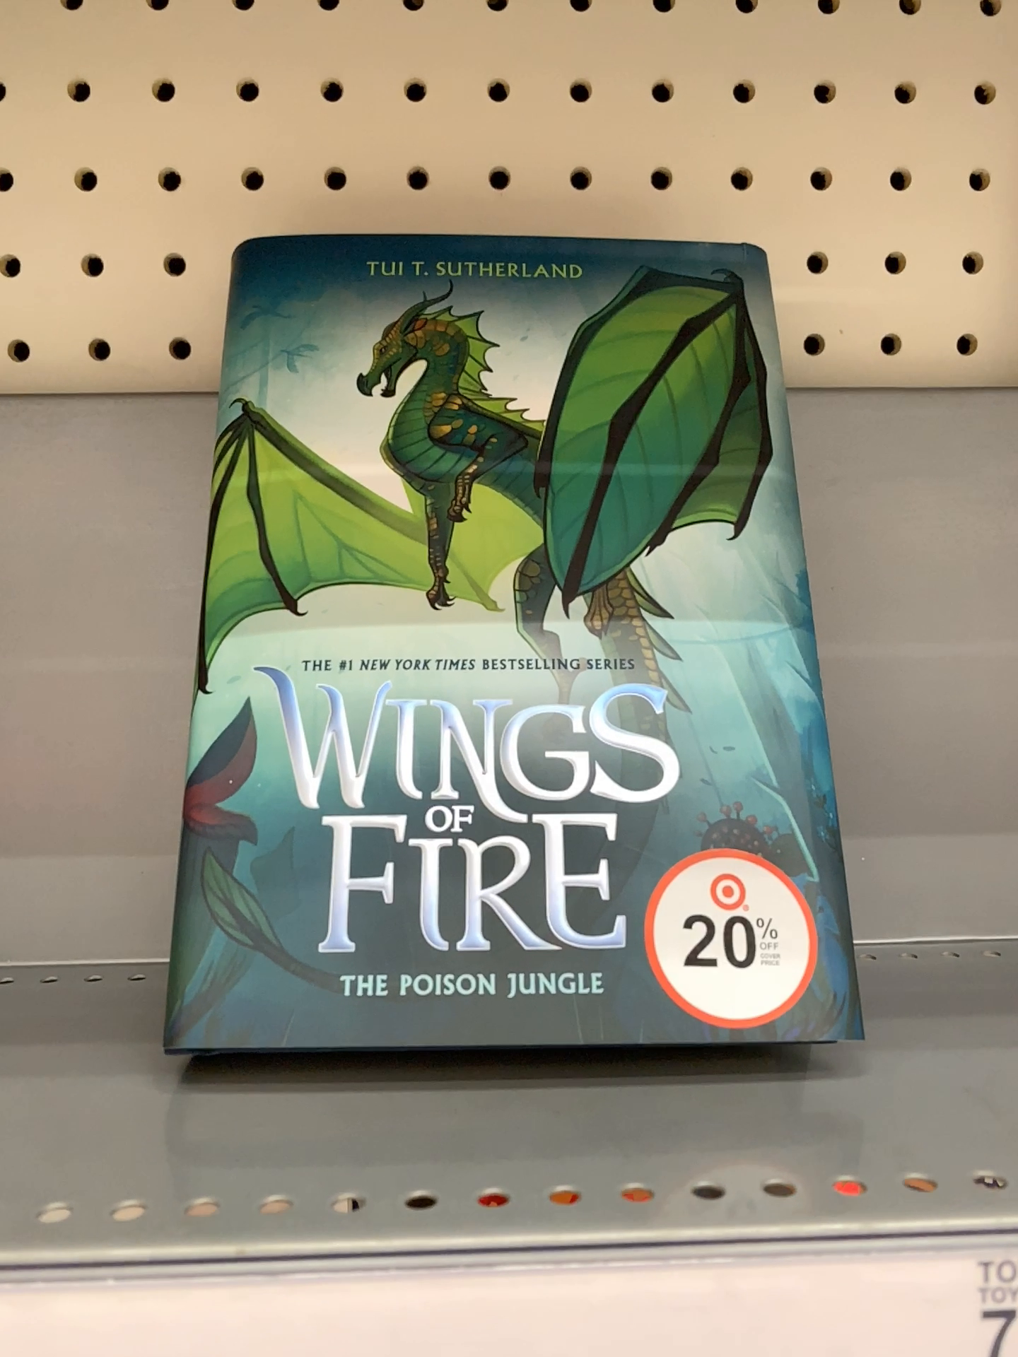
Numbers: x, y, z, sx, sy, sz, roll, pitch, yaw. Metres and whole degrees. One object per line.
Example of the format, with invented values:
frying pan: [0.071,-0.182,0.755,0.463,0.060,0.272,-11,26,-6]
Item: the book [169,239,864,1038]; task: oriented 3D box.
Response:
book: [0.000,-0.019,0.282,0.150,0.216,0.036,-1,-21,-1]
